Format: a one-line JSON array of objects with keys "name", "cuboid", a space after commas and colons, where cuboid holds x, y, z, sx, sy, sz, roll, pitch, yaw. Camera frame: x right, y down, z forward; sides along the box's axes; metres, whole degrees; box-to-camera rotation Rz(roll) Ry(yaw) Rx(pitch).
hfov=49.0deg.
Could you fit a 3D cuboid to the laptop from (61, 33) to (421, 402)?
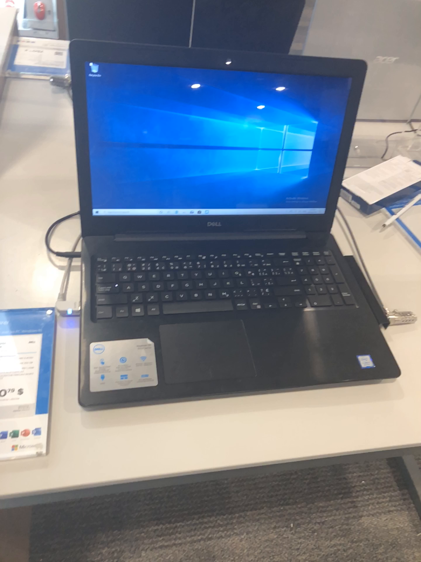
[{"name": "laptop", "cuboid": [0.031, -0.087, 0.544, 0.364, 0.224, 0.337, -2, 50, -12]}]
